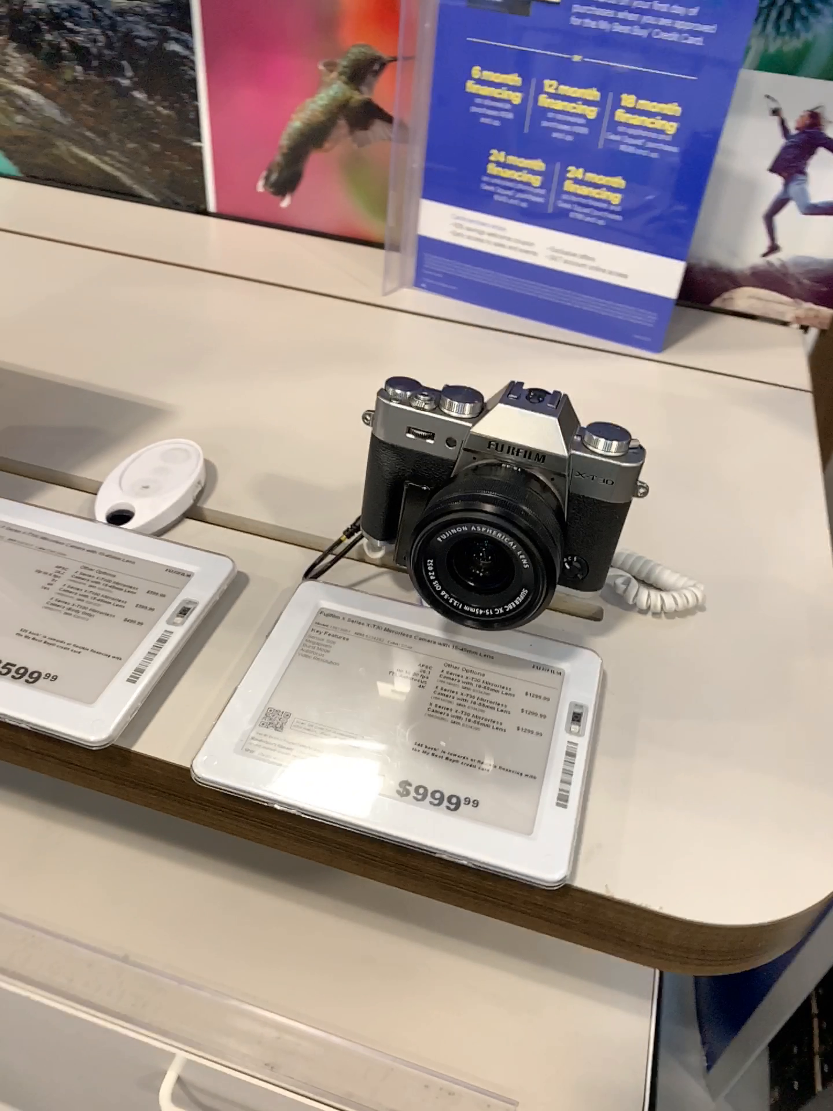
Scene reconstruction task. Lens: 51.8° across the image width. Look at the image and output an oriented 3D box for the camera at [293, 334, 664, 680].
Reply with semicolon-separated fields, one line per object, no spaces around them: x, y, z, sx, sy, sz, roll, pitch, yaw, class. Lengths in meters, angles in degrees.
0.028;-0.026;0.376;0.130;0.080;0.101;15;42;12;camera
